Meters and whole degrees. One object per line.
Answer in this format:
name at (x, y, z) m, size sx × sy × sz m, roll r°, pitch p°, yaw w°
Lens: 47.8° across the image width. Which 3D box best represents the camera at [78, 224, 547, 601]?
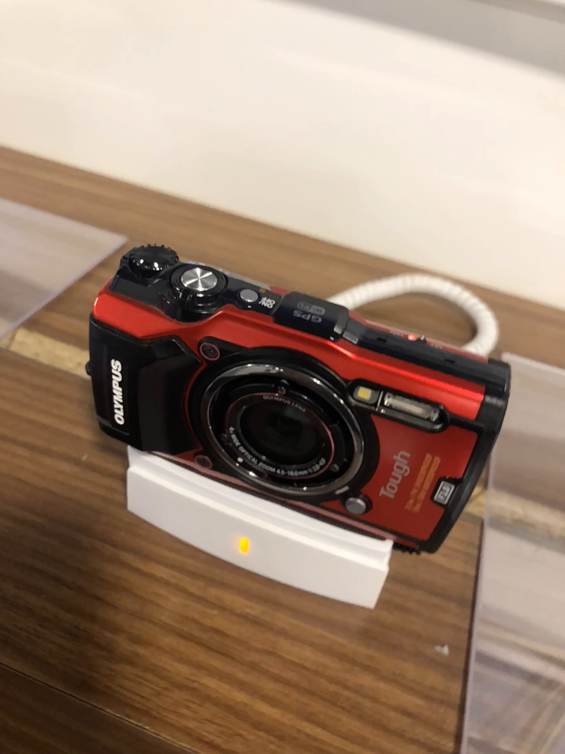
camera at (0.003, 0.010, 0.187) m, size 0.120 × 0.070 × 0.030 m, roll 20°, pitch 39°, yaw 11°
